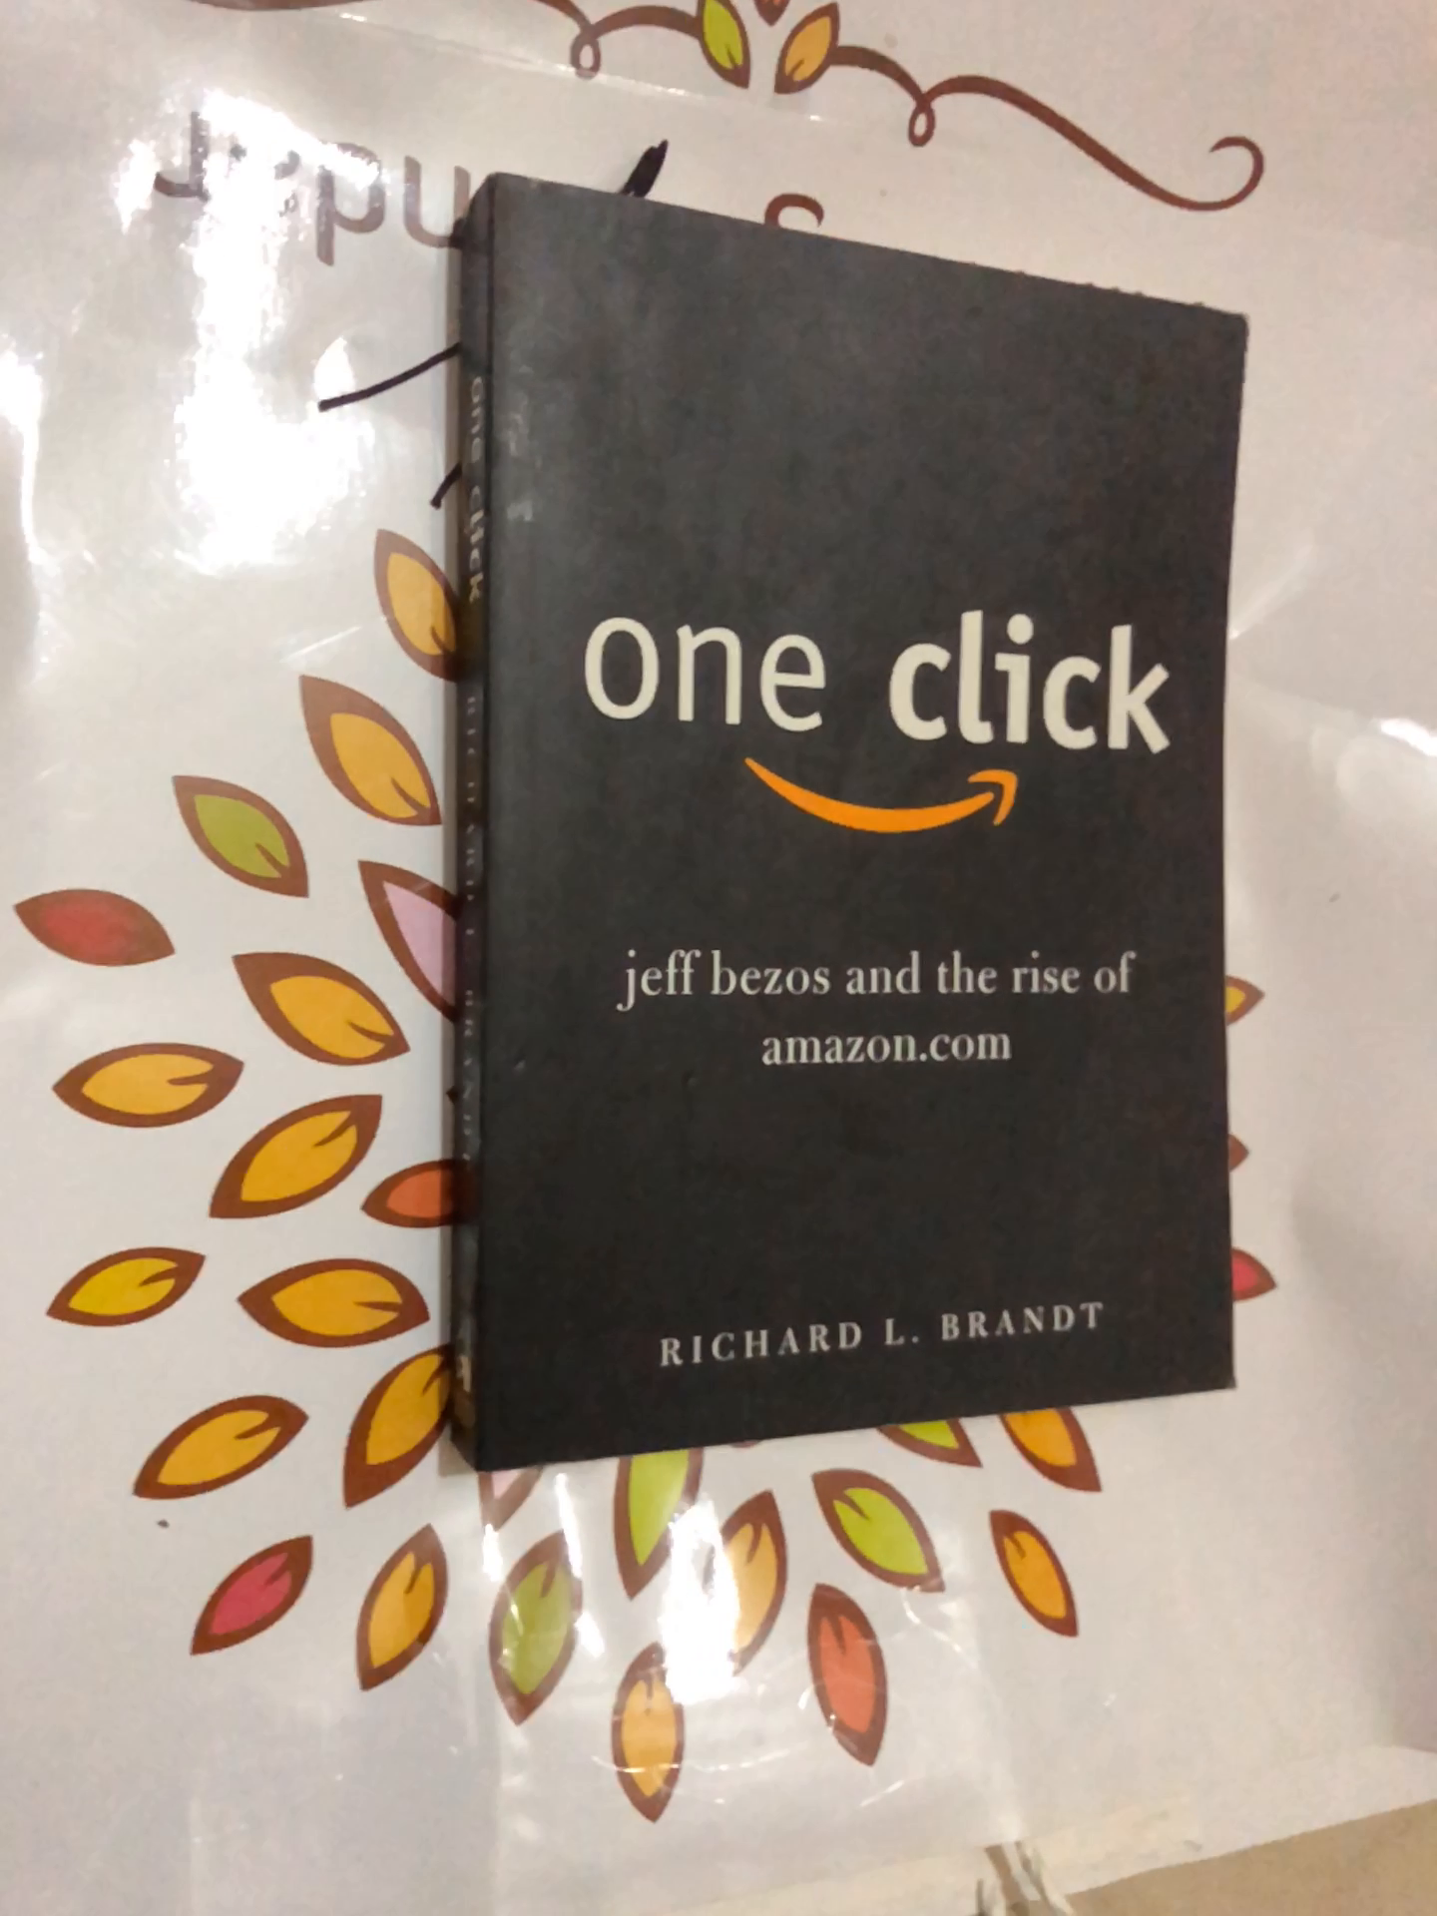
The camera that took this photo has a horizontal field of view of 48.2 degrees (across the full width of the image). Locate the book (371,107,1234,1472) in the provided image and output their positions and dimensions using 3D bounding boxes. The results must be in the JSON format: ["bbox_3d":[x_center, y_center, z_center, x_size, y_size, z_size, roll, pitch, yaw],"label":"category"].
[{"bbox_3d":[0.021,-0.027,0.294,0.160,0.020,0.220,1,88,-20],"label":"book"}]
